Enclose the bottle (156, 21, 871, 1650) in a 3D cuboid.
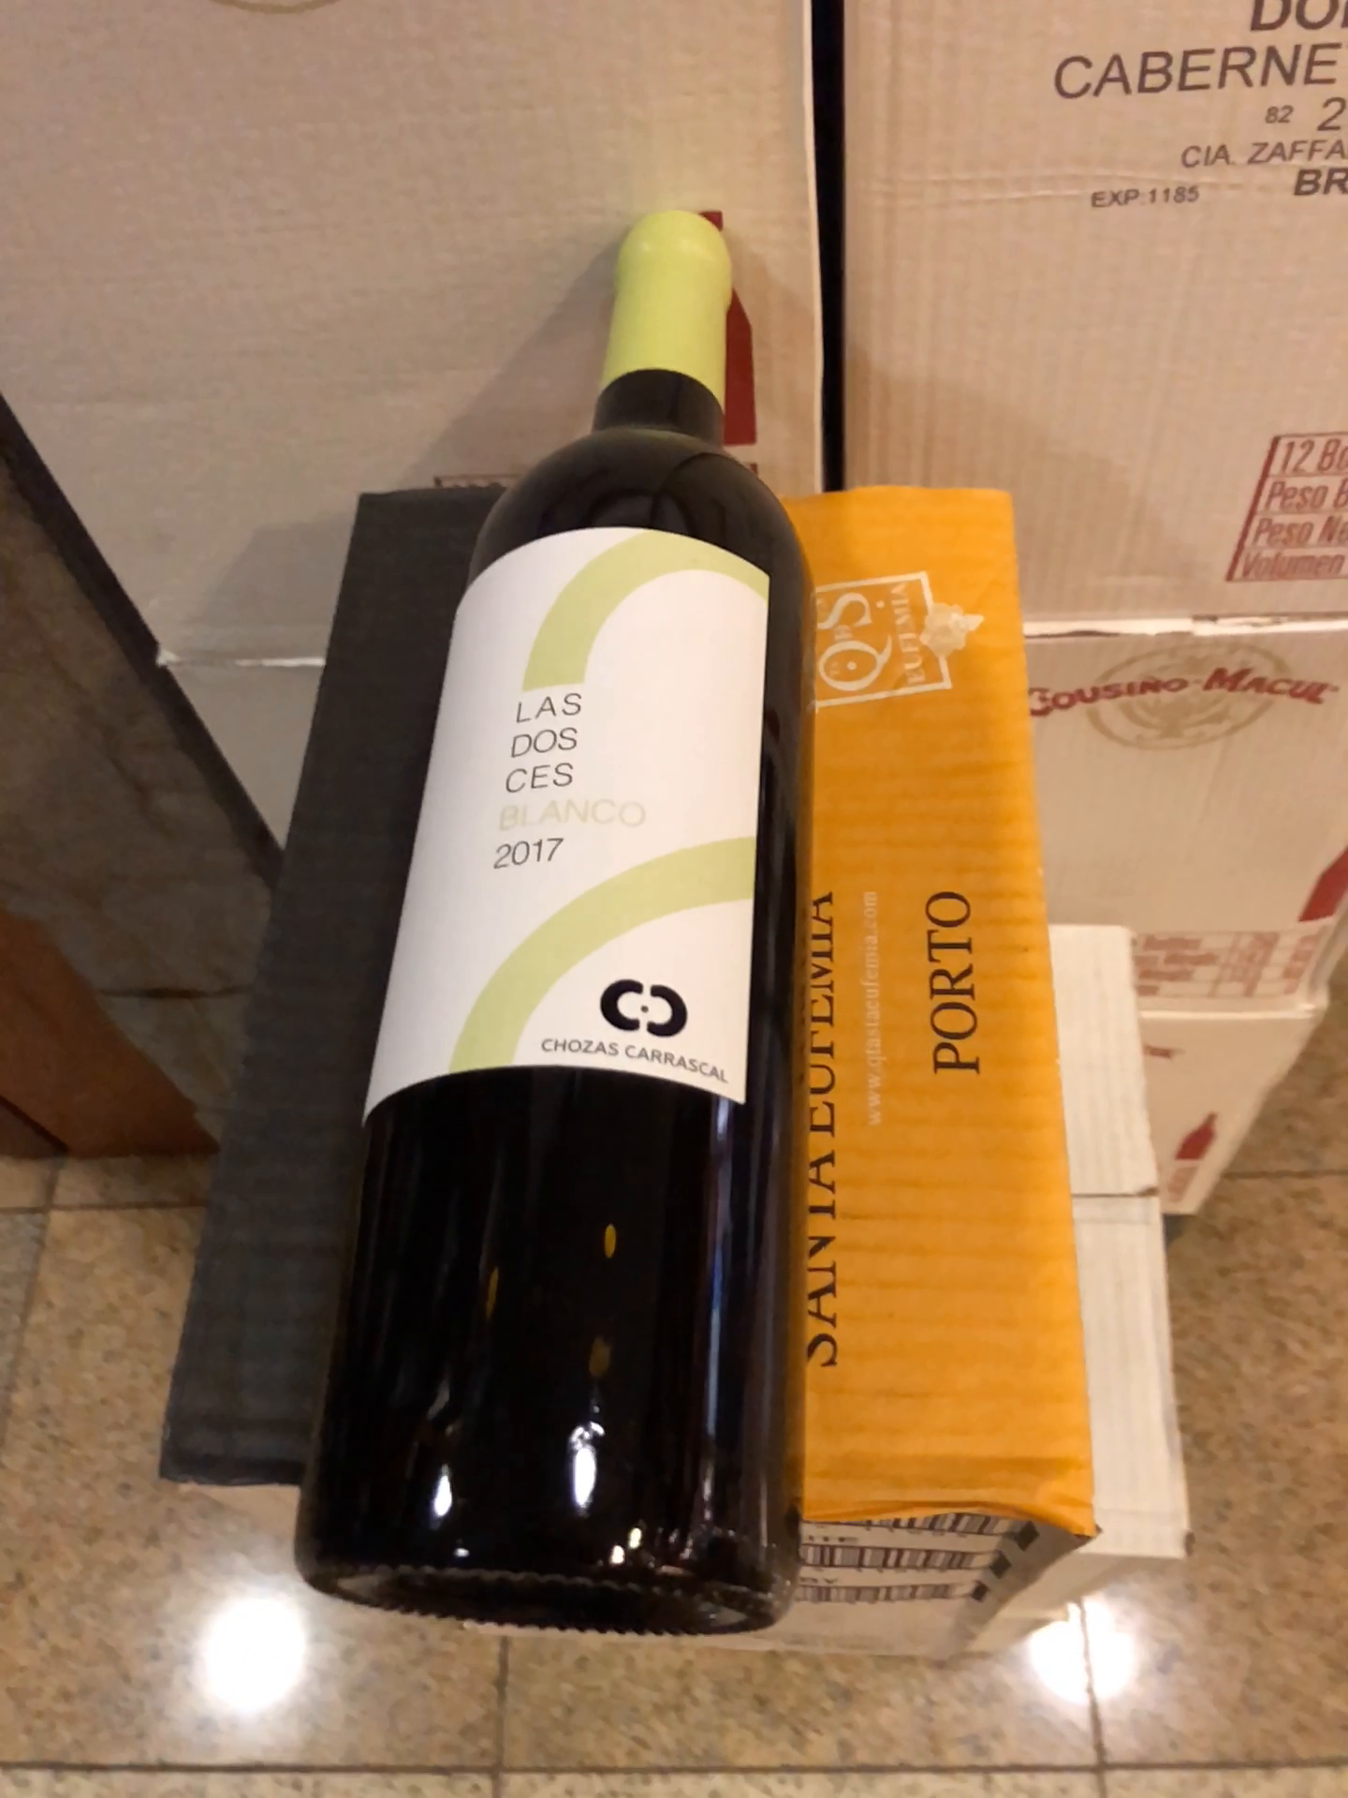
[{"bbox_3d":[-0.008,-0.037,0.291,0.090,0.070,0.321,1,62,6],"label":"bottle"}]
